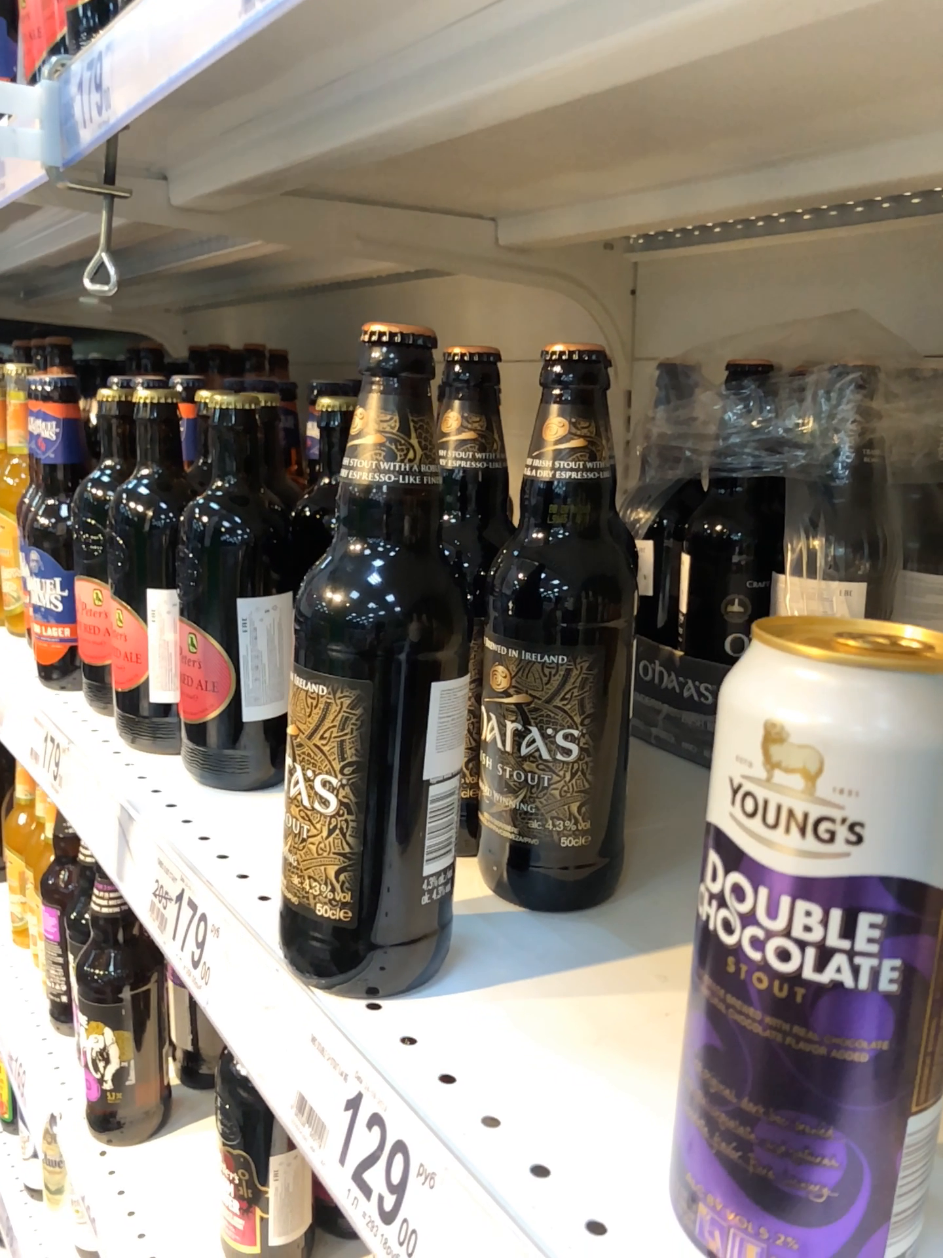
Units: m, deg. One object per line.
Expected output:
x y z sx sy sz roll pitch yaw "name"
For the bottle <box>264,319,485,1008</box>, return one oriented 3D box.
-0.038 0.011 0.390 0.070 0.239 0.070 1 12 0 "bottle"
